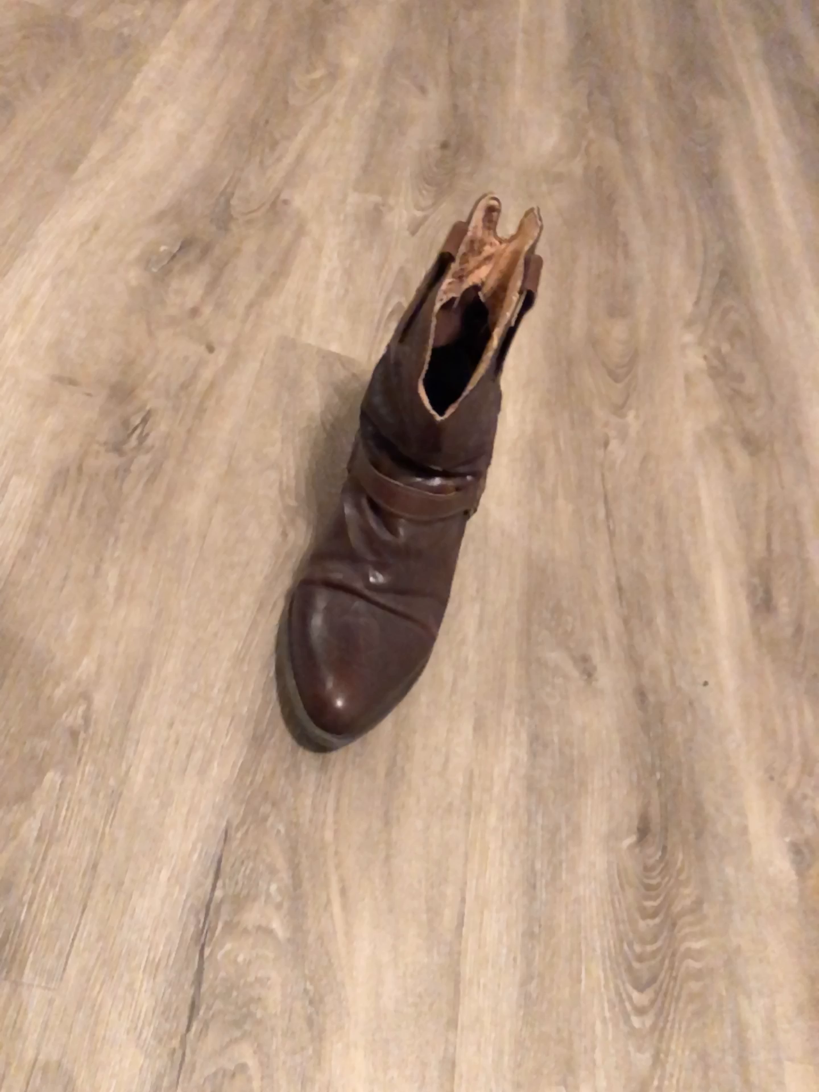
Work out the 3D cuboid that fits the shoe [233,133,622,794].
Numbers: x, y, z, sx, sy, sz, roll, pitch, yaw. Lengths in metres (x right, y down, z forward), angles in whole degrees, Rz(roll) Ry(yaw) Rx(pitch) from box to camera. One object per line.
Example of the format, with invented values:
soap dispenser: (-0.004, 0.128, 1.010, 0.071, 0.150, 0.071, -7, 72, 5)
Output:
shoe: (0.011, -0.040, 0.461, 0.100, 0.209, 0.241, 19, 48, -8)
